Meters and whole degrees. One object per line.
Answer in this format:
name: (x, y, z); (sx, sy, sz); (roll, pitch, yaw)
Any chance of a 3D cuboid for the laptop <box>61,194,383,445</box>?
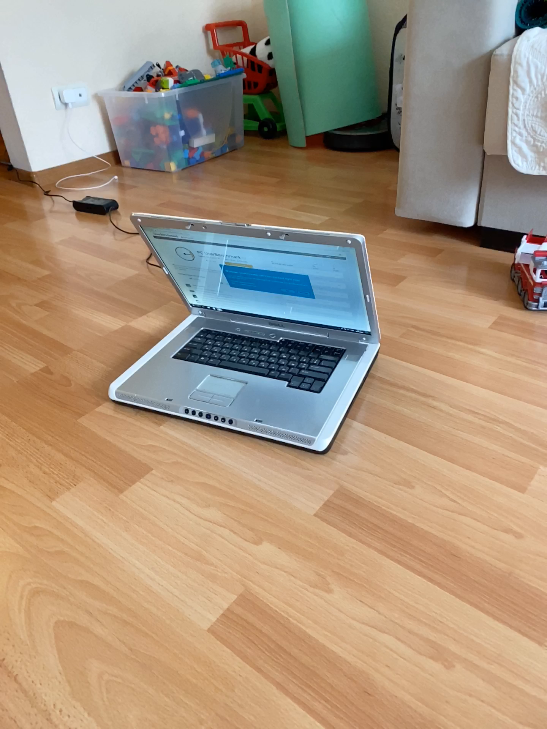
laptop: (-0.057, -0.096, 0.869); (0.387, 0.238, 0.275); (11, 35, 22)
